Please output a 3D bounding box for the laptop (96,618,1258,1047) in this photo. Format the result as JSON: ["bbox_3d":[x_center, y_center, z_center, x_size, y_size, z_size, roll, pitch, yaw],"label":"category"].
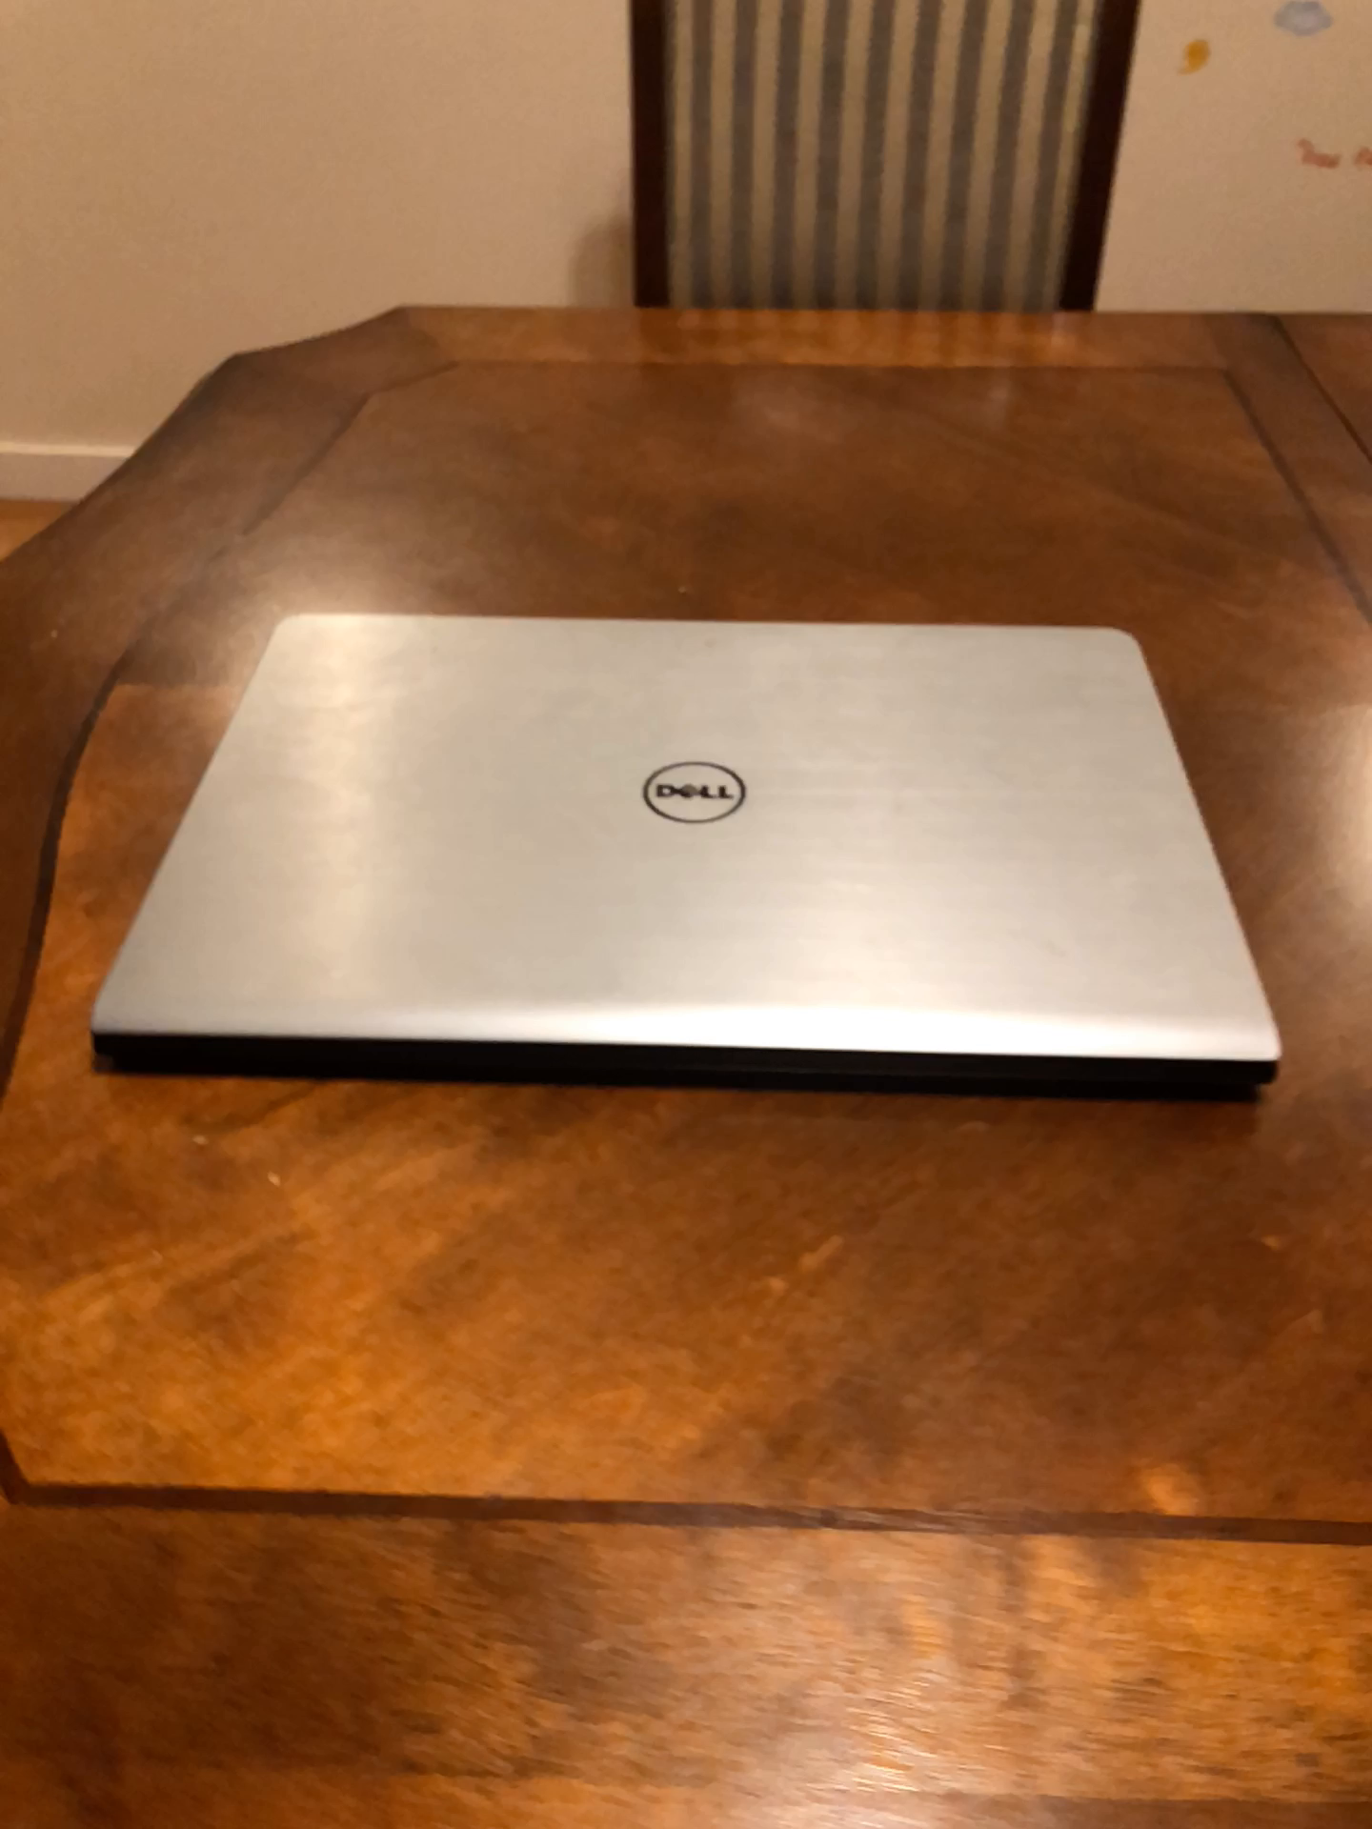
[{"bbox_3d":[-0.001,-0.044,0.566,0.363,0.002,0.245,1,41,2],"label":"laptop"}]
